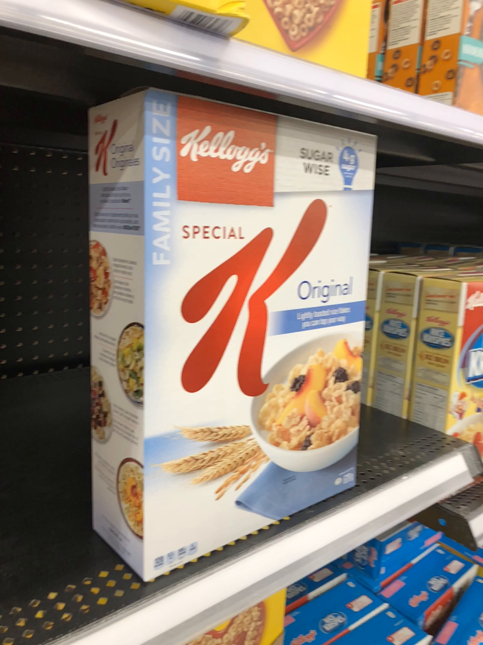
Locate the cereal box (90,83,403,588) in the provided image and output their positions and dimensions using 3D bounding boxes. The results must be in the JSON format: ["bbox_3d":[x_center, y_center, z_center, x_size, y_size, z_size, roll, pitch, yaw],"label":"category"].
[{"bbox_3d":[0.012,0.003,0.453,0.260,0.329,0.080,-6,14,-40],"label":"cereal box"}]
